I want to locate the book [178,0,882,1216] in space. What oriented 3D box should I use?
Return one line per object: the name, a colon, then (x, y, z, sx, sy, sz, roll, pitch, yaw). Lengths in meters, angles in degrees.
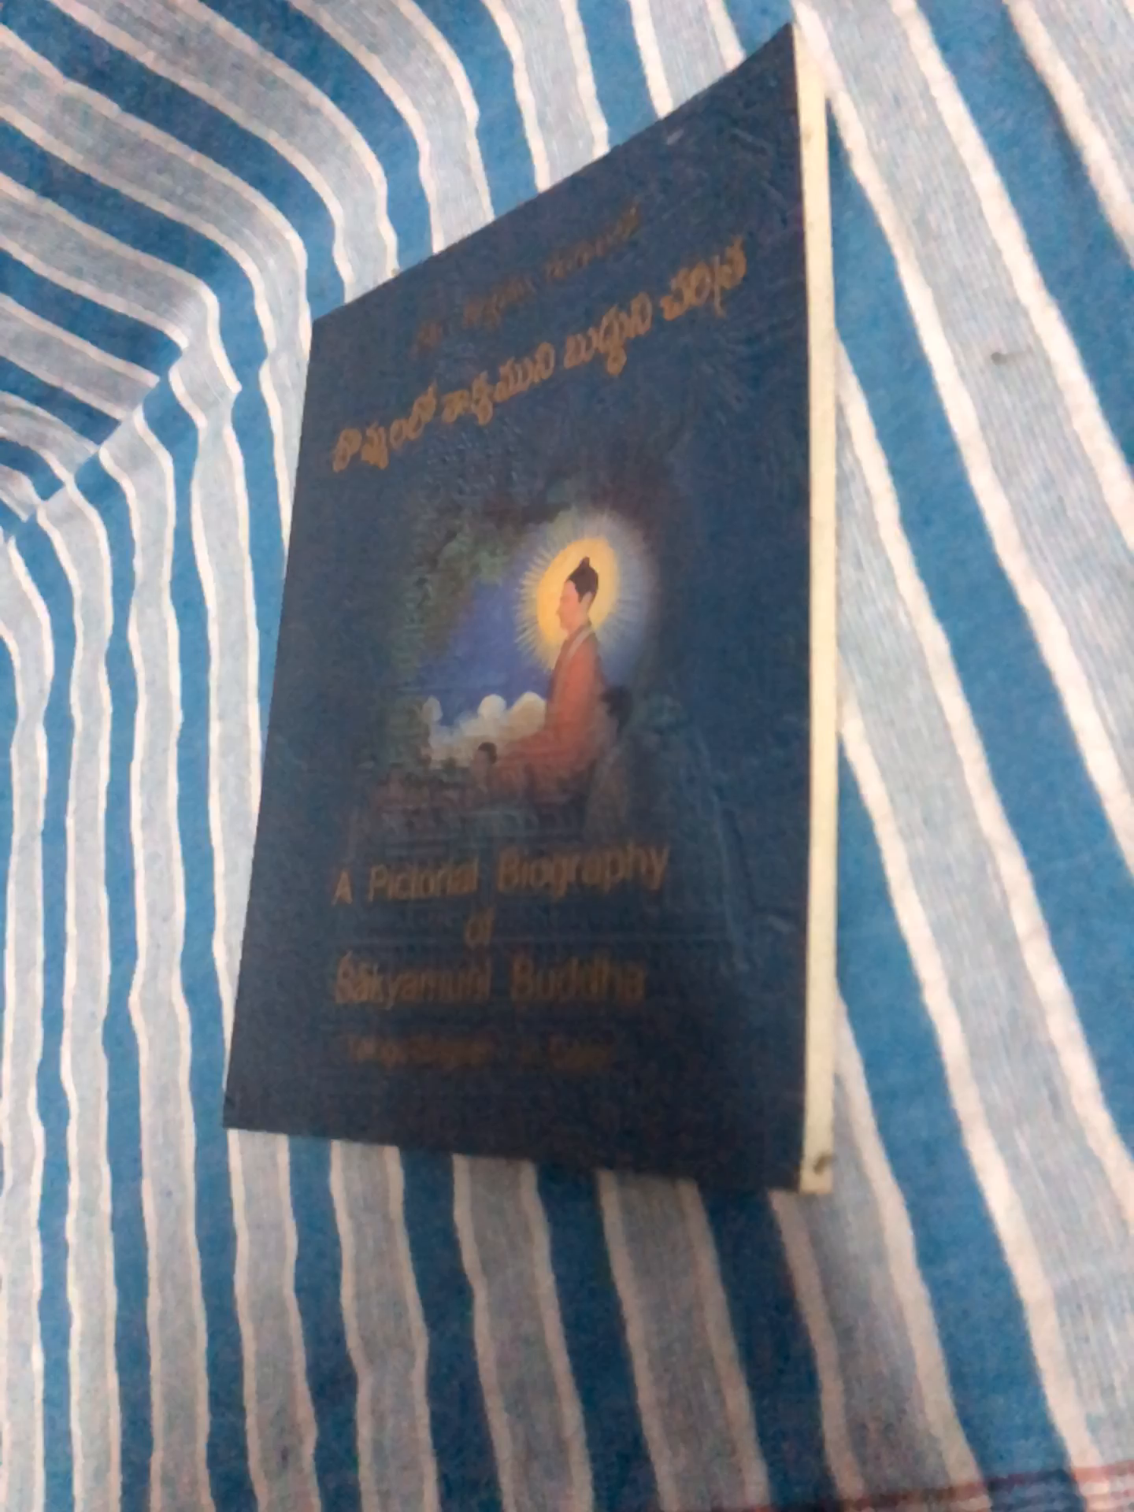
book: (-0.015, -0.026, 0.273, 0.170, 0.020, 0.220, -10, 69, 41)
